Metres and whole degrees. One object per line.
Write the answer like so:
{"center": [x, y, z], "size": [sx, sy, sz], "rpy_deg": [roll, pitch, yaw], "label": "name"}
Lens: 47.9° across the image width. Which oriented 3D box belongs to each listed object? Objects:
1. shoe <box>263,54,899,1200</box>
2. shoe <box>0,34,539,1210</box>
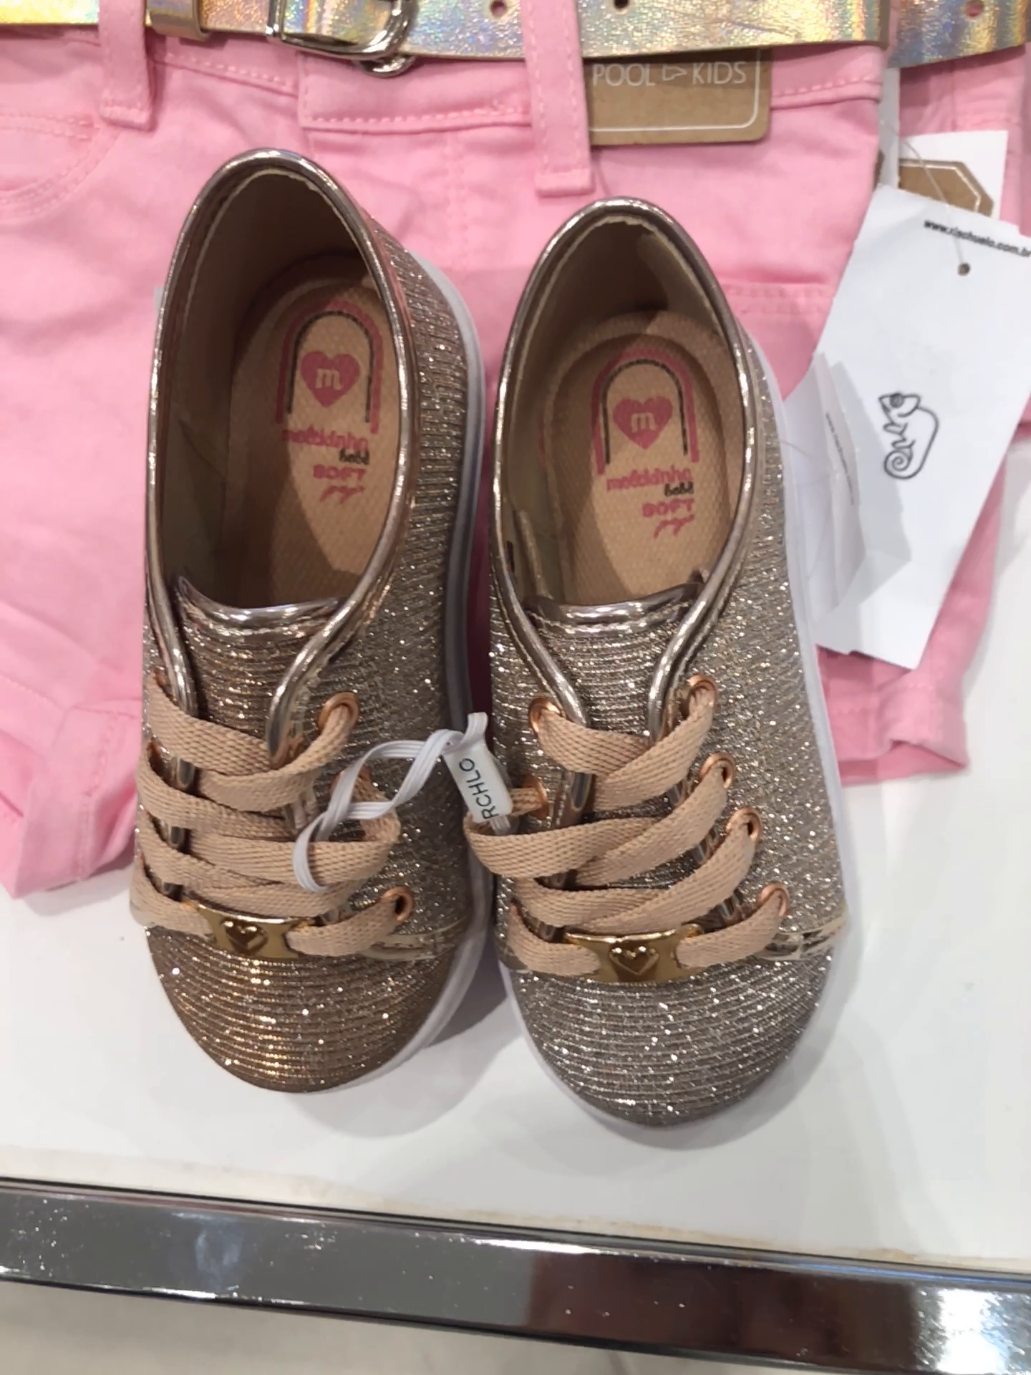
{"center": [0.011, -0.008, 0.217], "size": [0.080, 0.080, 0.170], "rpy_deg": [-7, 80, 9], "label": "shoe"}
{"center": [-0.041, -0.011, 0.214], "size": [0.070, 0.080, 0.170], "rpy_deg": [3, 93, 12], "label": "shoe"}
